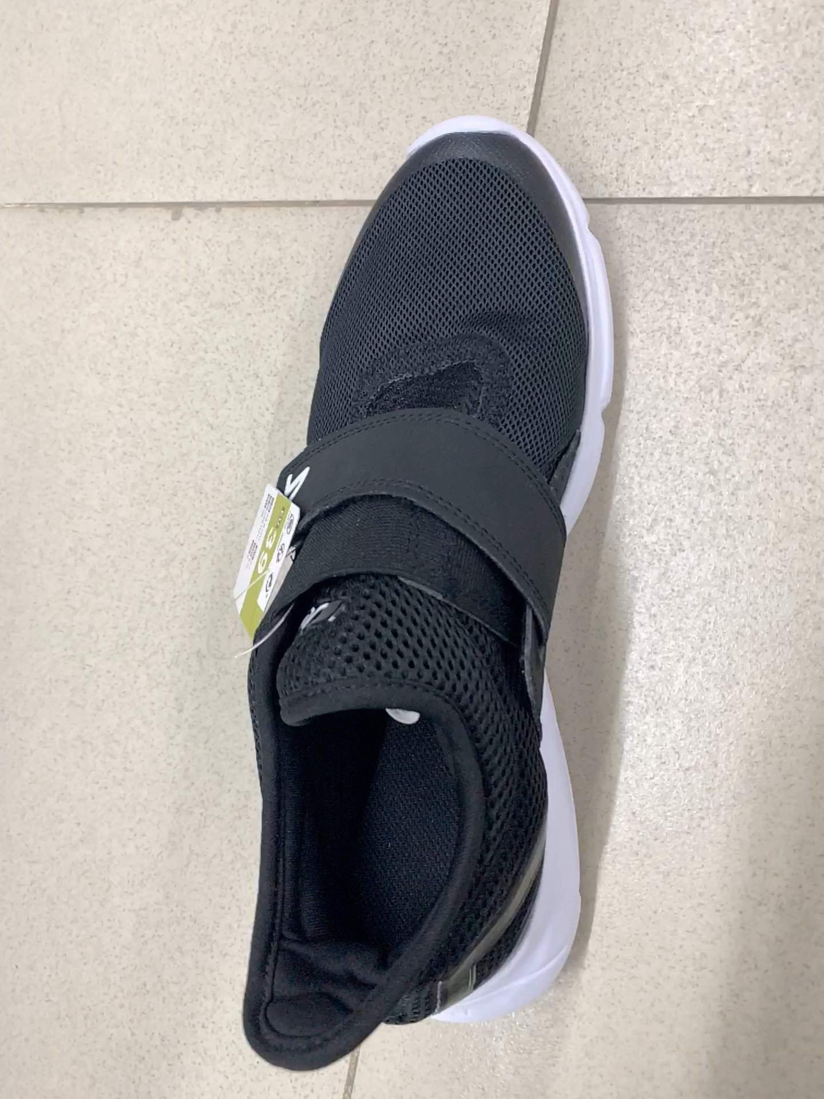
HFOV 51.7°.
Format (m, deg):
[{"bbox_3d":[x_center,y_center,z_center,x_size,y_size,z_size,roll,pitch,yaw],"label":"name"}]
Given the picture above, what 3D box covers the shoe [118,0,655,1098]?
[{"bbox_3d":[0.003,0.006,0.236,0.110,0.100,0.250,-1,85,25],"label":"shoe"}]
